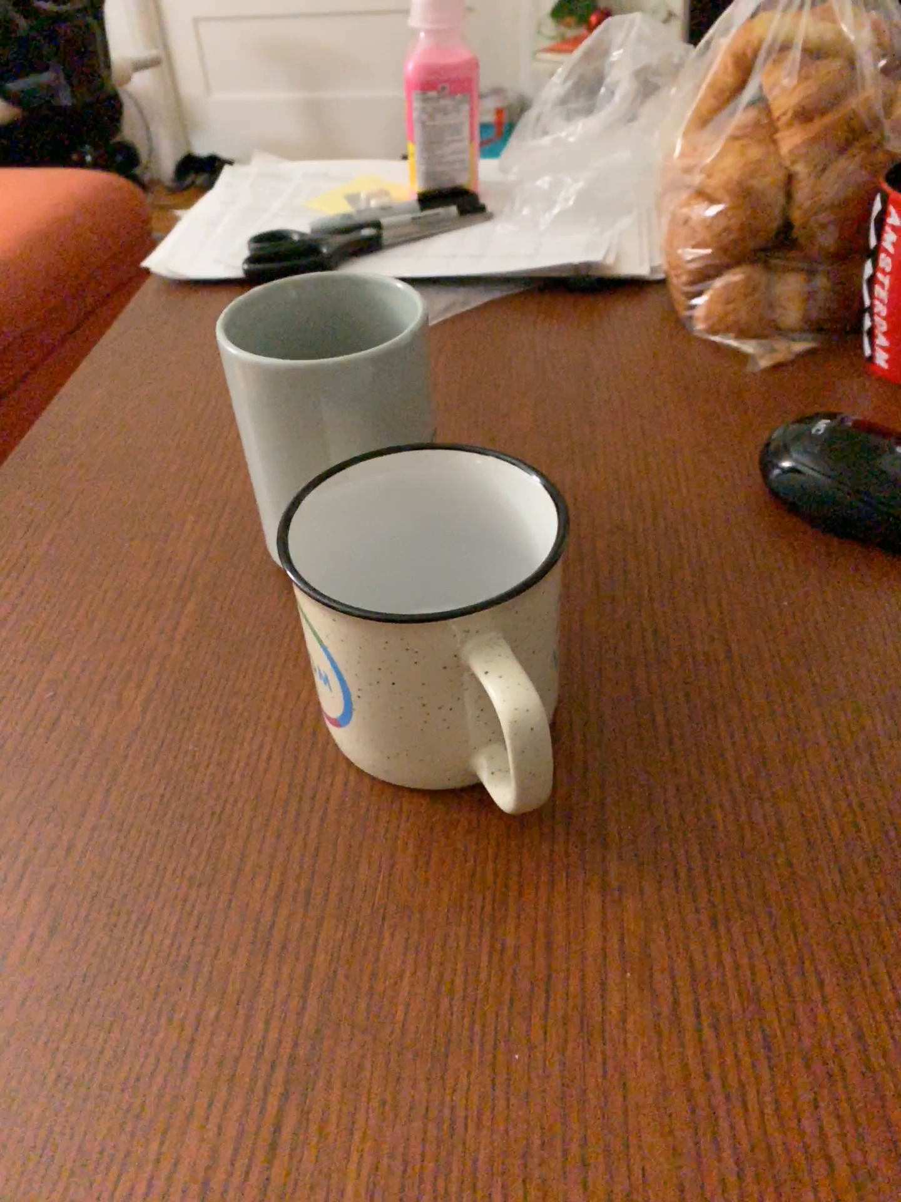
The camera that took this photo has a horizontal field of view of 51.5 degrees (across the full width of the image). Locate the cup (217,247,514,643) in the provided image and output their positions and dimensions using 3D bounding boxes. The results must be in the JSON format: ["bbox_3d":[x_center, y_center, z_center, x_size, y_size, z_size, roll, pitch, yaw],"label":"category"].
[{"bbox_3d":[-0.040,-0.074,0.409,0.100,0.099,0.141,-10,41,-7],"label":"cup"}]

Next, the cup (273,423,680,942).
[{"bbox_3d":[0.002,0.022,0.323,0.100,0.099,0.131,-10,41,-7],"label":"cup"}]
